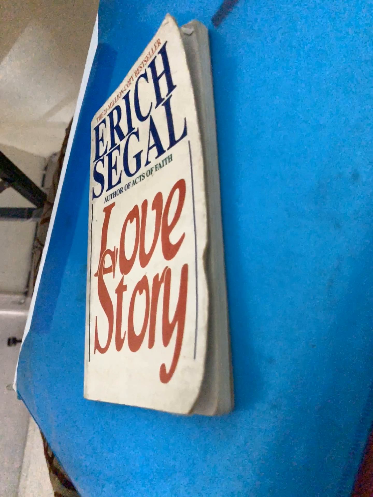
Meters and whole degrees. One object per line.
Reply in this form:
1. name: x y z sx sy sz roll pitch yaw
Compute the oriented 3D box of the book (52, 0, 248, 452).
1. book: -0.026 -0.013 0.186 0.111 0.020 0.180 -17 69 45
